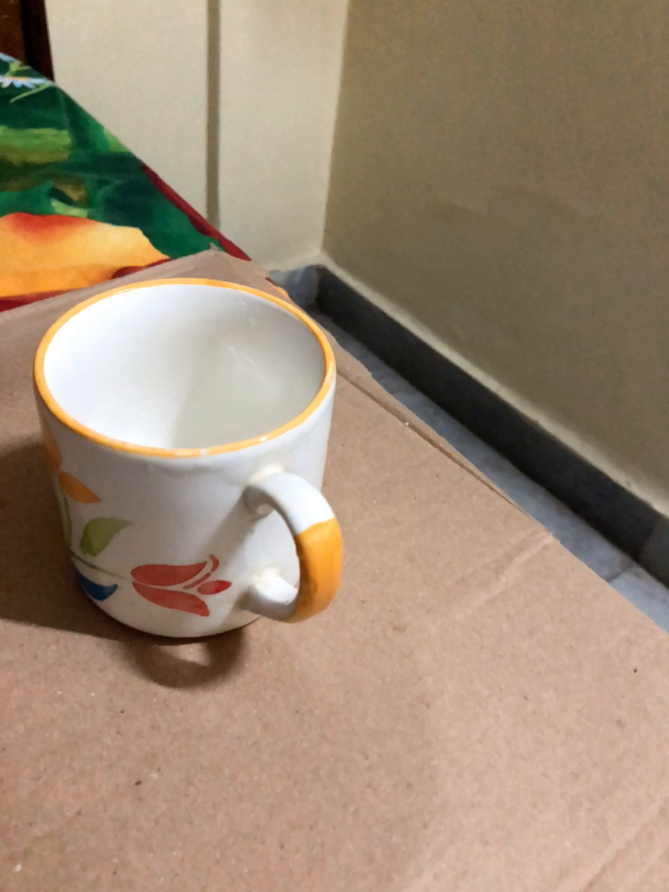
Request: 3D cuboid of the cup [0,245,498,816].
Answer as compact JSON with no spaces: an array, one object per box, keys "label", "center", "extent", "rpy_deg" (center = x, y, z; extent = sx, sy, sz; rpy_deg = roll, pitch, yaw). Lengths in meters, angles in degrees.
[{"label":"cup","center":[-0.037,0.012,0.214],"extent":[0.090,0.079,0.120],"rpy_deg":[-28,51,-37]}]
